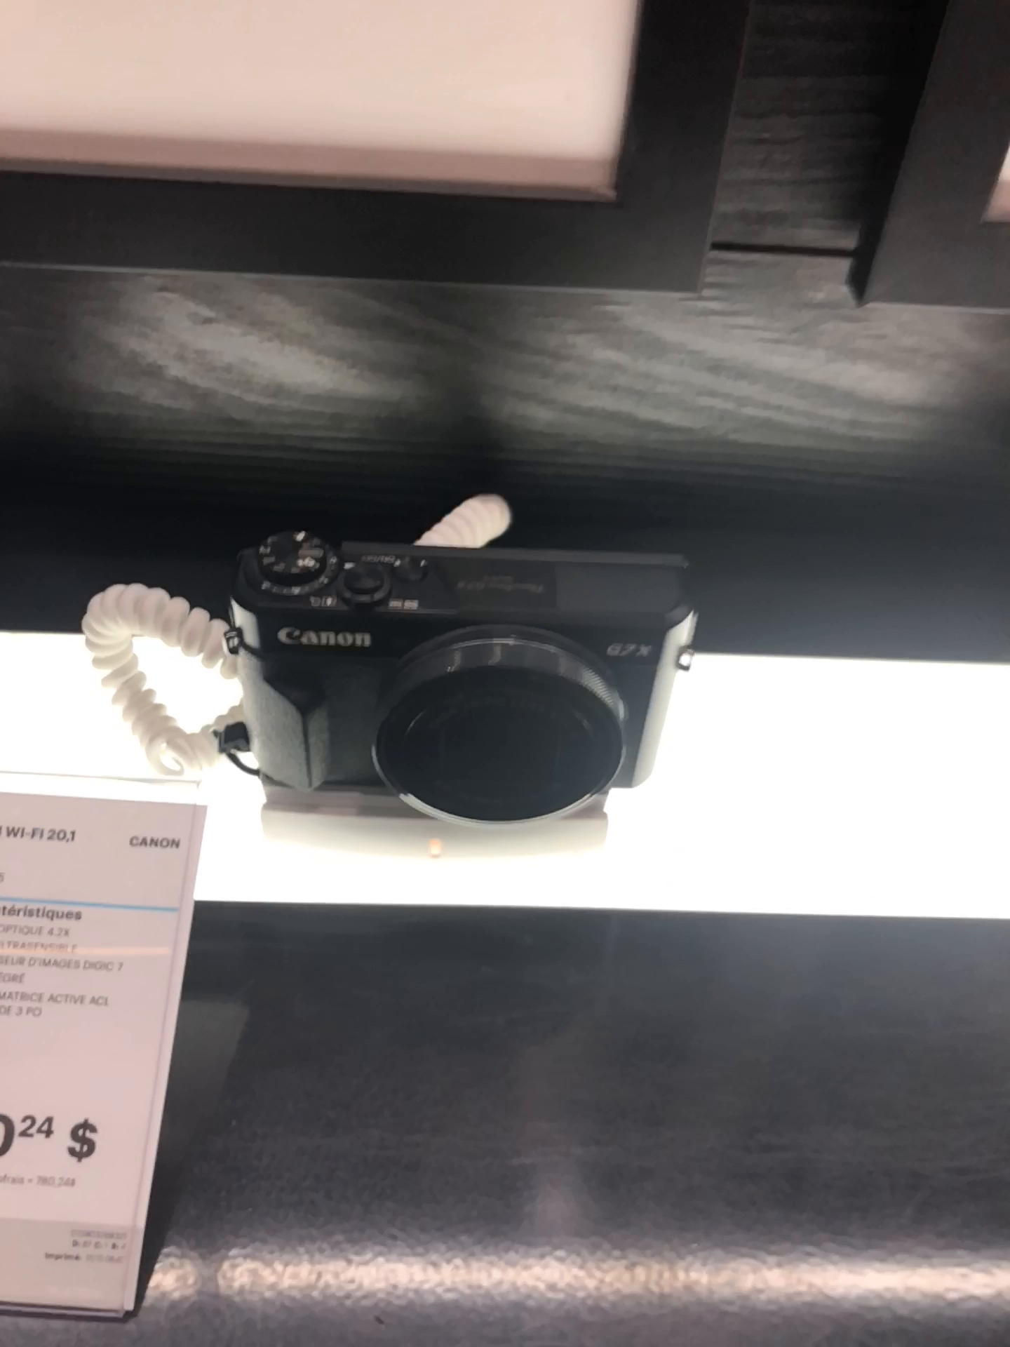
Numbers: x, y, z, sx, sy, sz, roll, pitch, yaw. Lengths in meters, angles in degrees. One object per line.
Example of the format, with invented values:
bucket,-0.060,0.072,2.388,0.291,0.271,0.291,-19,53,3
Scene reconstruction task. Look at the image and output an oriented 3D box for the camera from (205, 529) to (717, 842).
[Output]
camera,-0.010,0.004,0.253,0.100,0.056,0.038,2,43,-2
